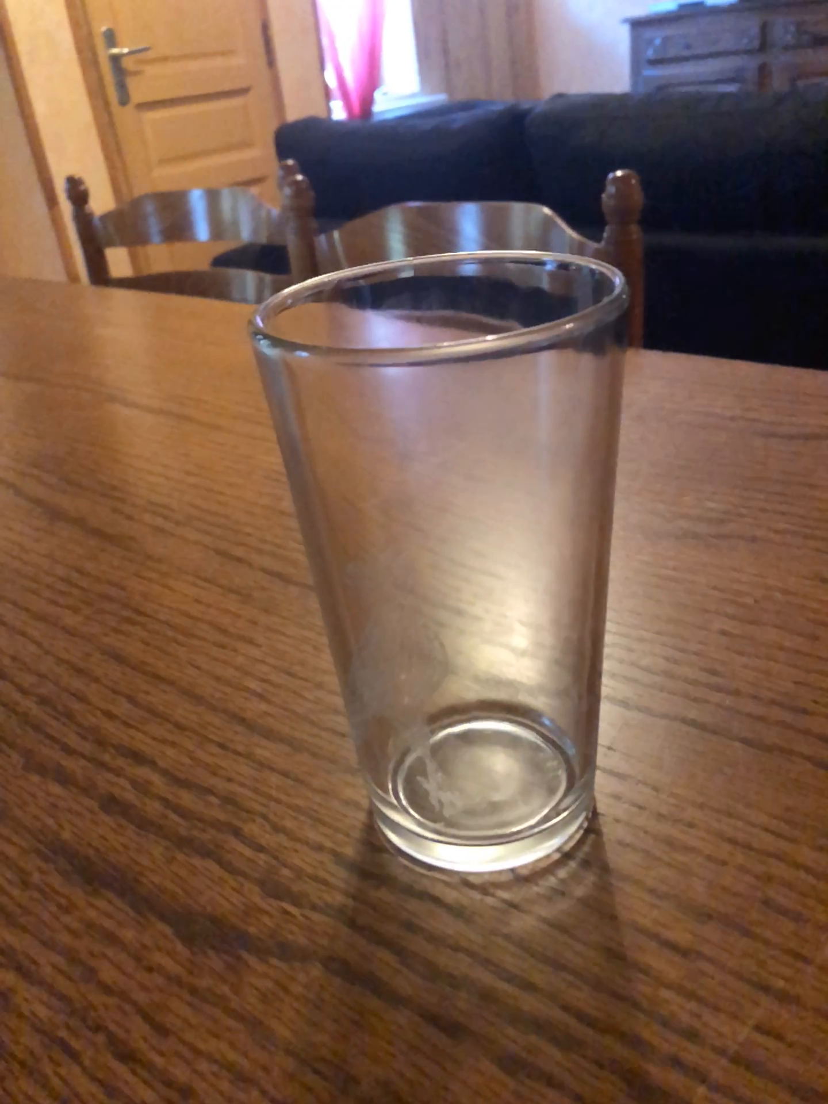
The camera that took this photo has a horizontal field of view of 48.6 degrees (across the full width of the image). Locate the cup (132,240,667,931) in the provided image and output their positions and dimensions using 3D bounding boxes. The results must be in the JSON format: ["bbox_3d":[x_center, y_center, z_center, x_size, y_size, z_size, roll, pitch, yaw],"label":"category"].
[{"bbox_3d":[0.008,0.001,0.244,0.091,0.144,0.090,-6,28,3],"label":"cup"}]
